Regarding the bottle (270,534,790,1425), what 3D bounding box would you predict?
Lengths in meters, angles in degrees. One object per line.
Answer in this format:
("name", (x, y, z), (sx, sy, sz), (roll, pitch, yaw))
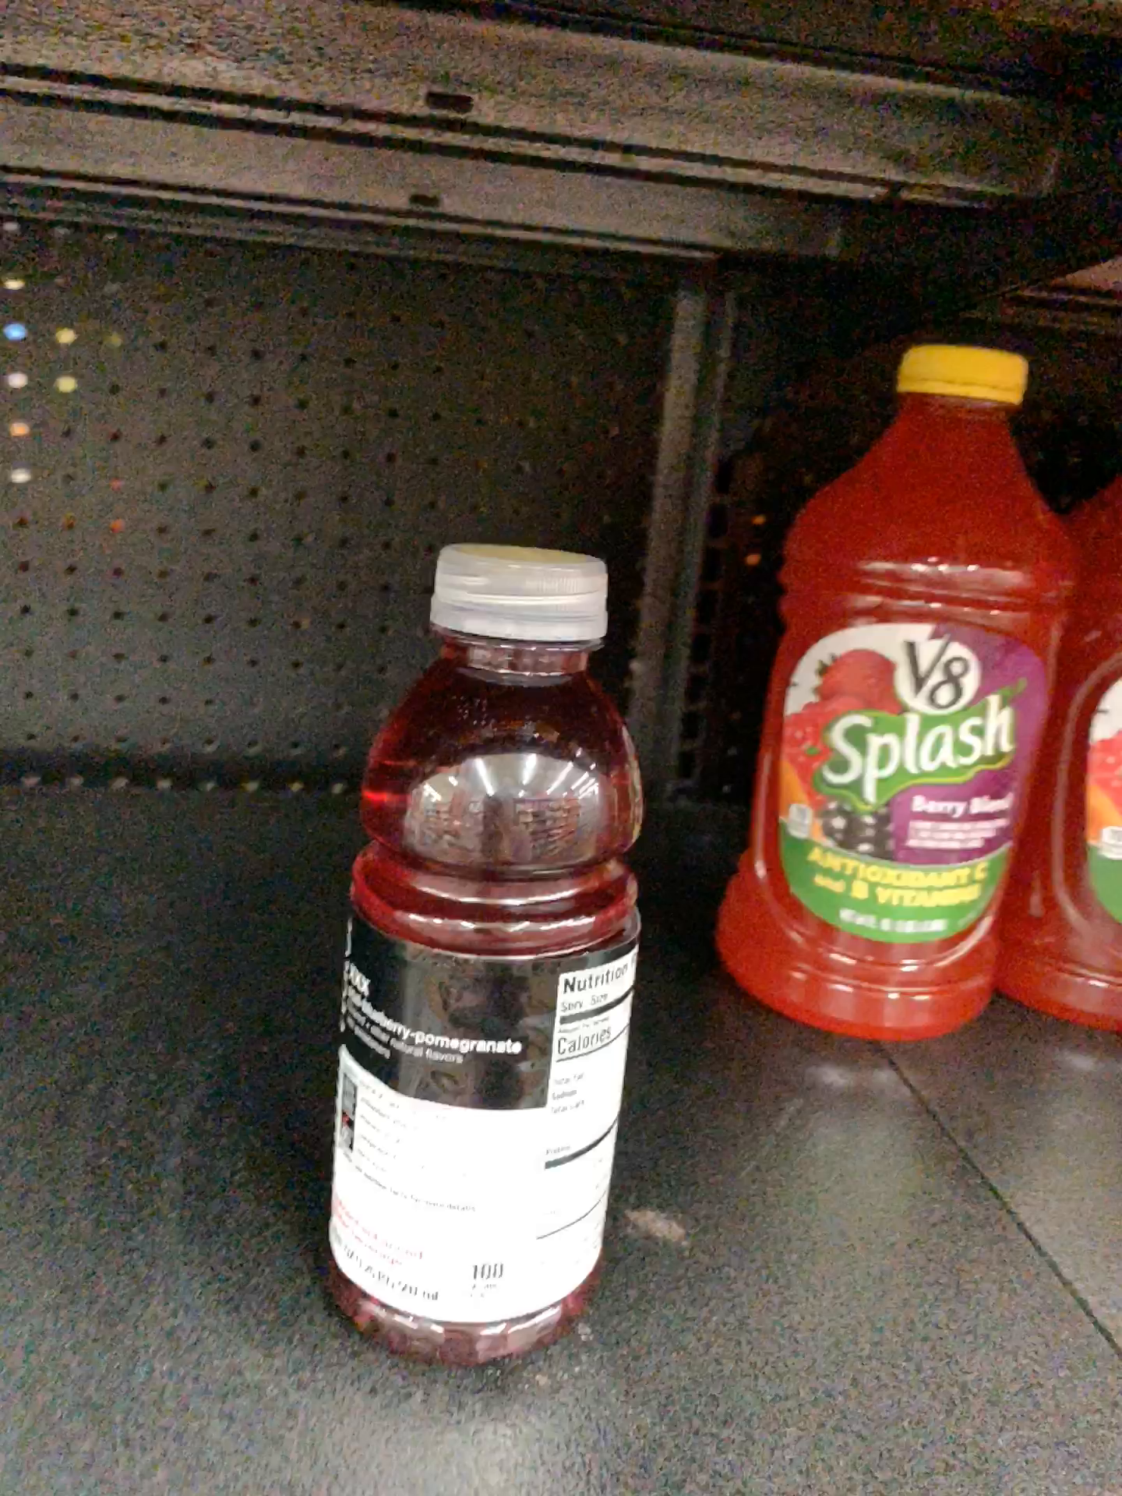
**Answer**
("bottle", (-0.015, 0.045, 0.281), (0.080, 0.179, 0.080), (5, 16, -1))
